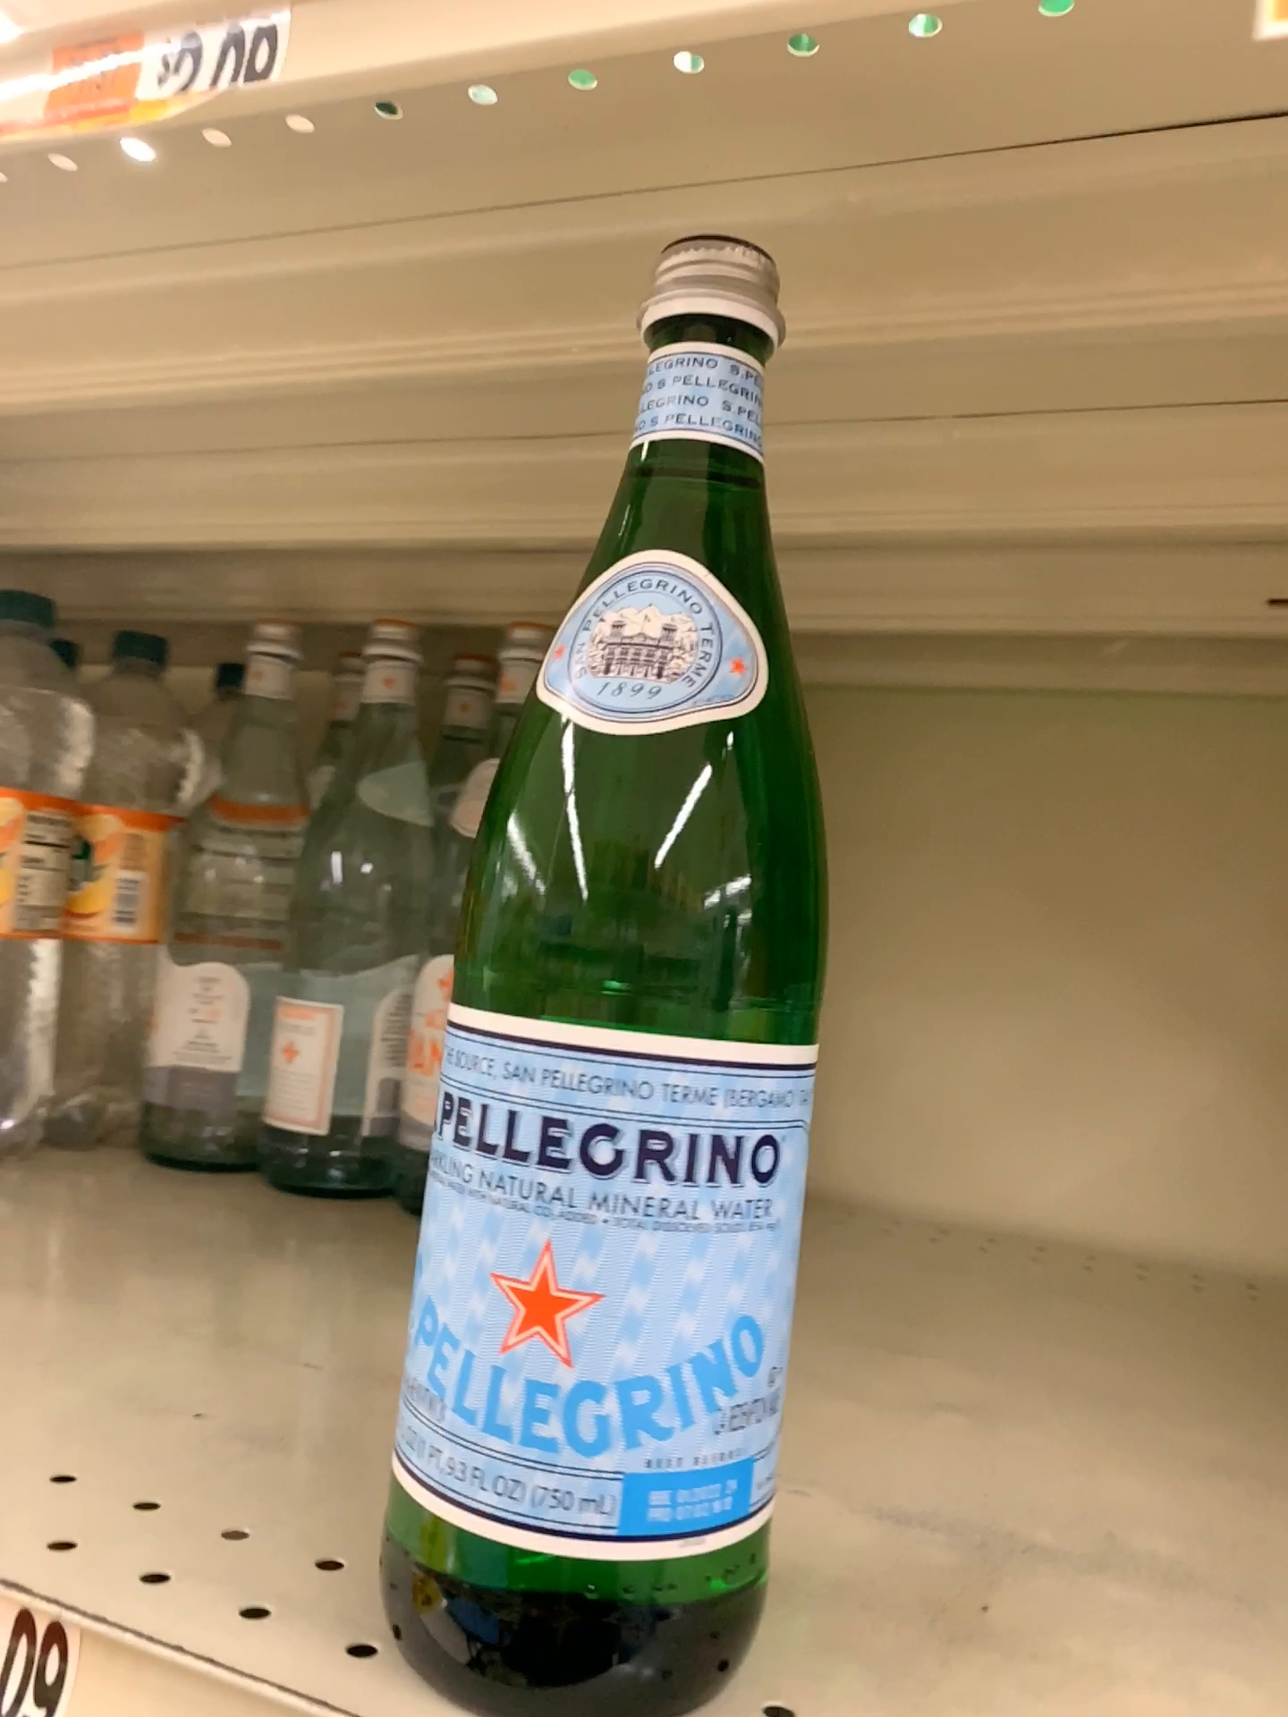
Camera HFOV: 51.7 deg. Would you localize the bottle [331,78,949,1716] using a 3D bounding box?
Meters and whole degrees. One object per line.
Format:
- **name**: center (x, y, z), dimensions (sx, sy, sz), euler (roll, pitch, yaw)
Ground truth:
- **bottle**: center (0.003, 0.012, 0.275), dimensions (0.078, 0.302, 0.065), euler (4, -3, 29)
